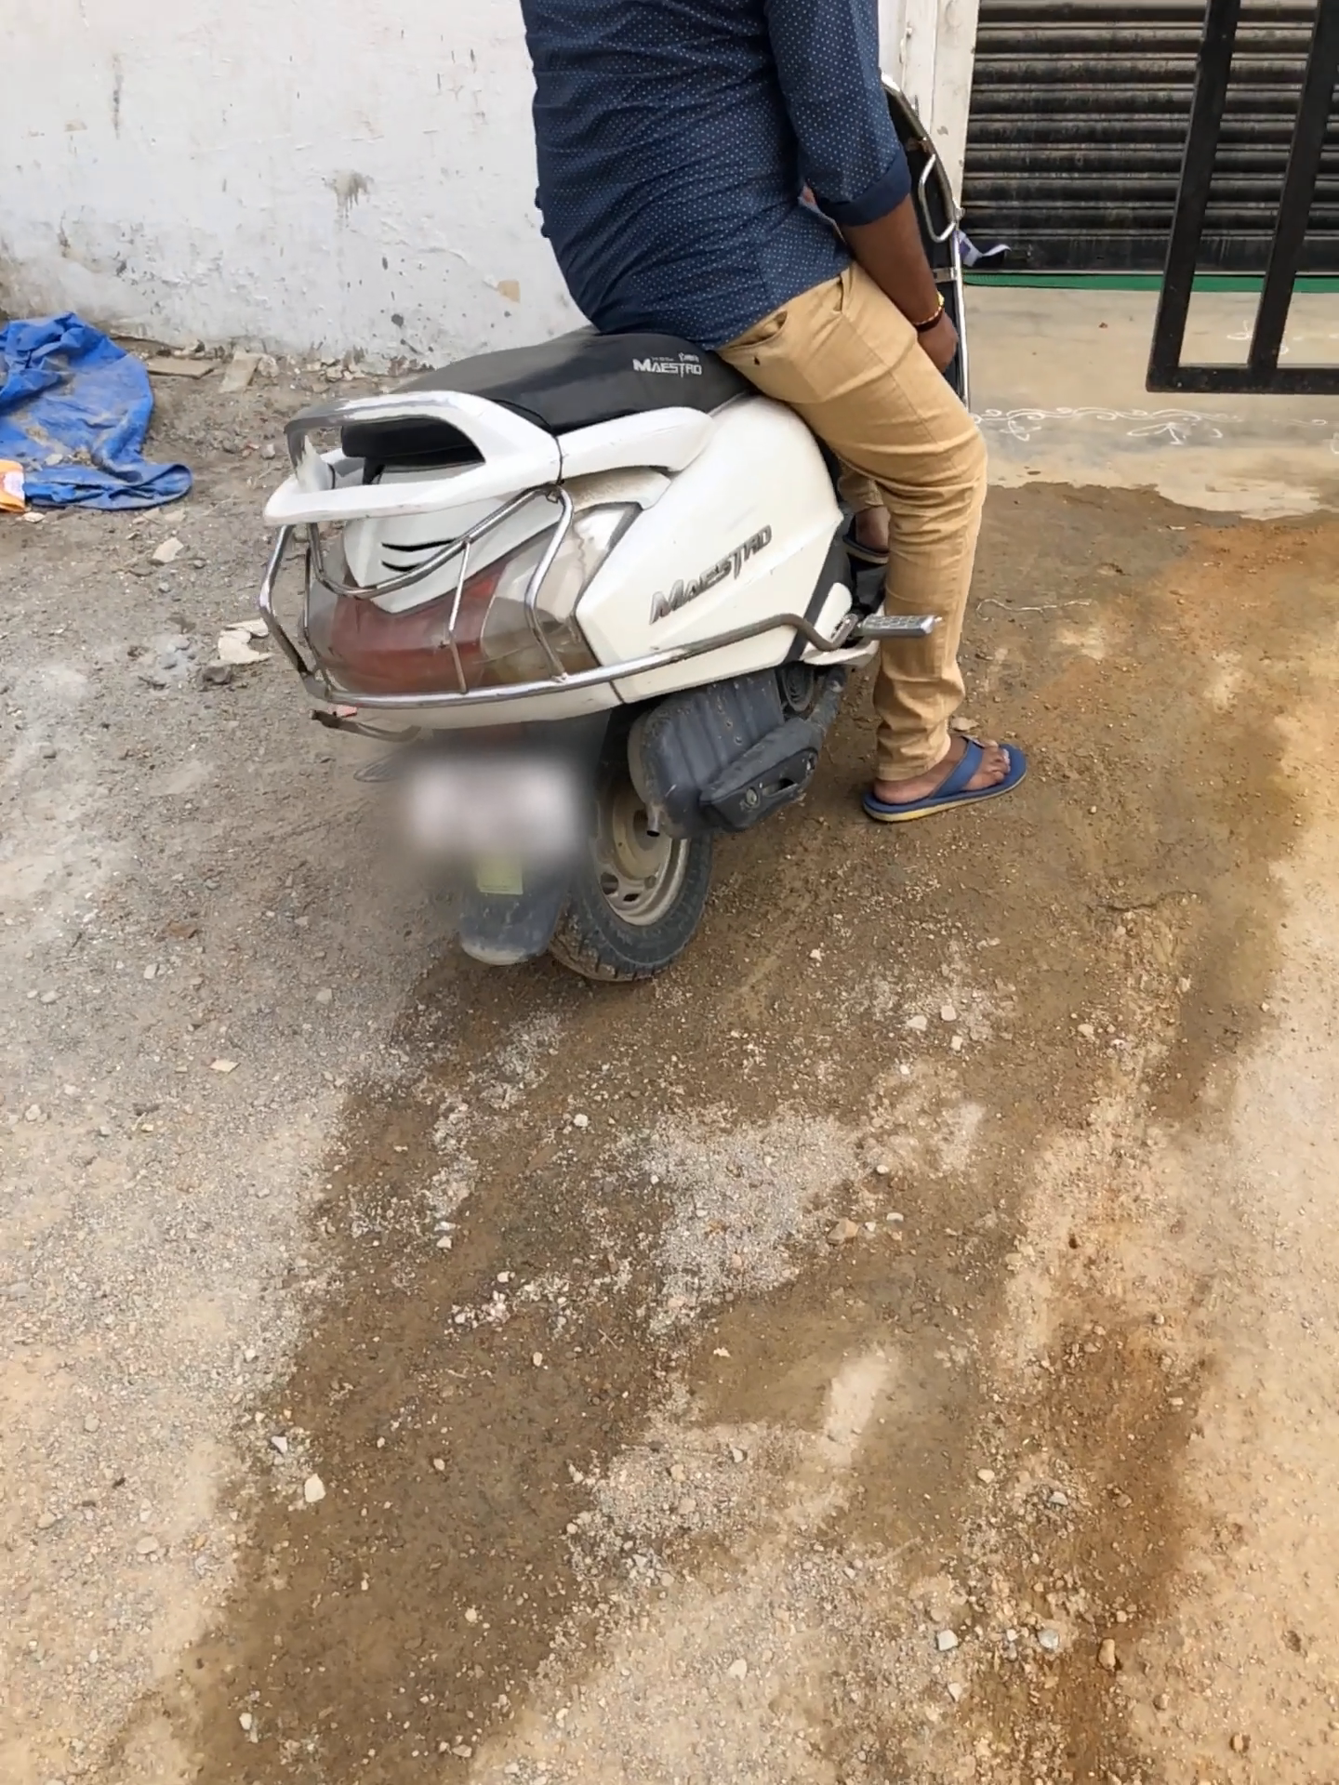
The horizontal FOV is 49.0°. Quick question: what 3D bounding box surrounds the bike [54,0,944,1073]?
[{"bbox_3d":[-0.066,-0.860,2.165,0.599,1.231,1.565,9,40,15],"label":"bike"}]
